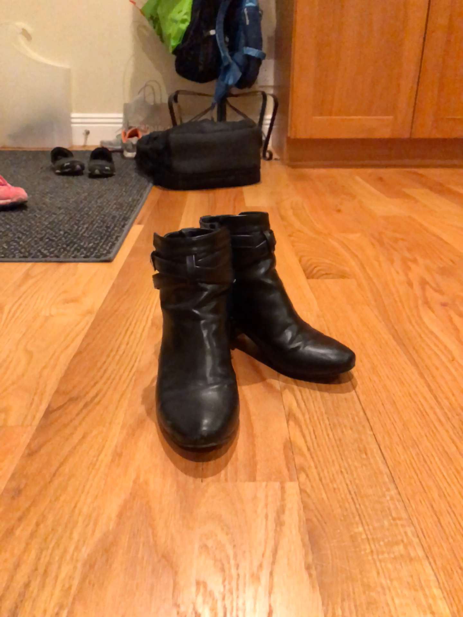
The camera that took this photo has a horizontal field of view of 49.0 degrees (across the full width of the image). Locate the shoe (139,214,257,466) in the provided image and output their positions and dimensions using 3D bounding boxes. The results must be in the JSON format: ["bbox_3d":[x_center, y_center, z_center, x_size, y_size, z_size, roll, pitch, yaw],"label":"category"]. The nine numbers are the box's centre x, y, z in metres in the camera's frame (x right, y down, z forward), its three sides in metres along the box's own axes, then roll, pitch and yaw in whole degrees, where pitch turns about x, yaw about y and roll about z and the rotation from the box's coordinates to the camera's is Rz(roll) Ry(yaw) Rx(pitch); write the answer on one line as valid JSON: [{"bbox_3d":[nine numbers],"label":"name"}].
[{"bbox_3d":[-0.033,0.014,0.526,0.090,0.172,0.227,-1,24,-4],"label":"shoe"}]

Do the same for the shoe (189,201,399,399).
[{"bbox_3d":[0.065,-0.023,0.618,0.227,0.172,0.090,17,29,34],"label":"shoe"}]
